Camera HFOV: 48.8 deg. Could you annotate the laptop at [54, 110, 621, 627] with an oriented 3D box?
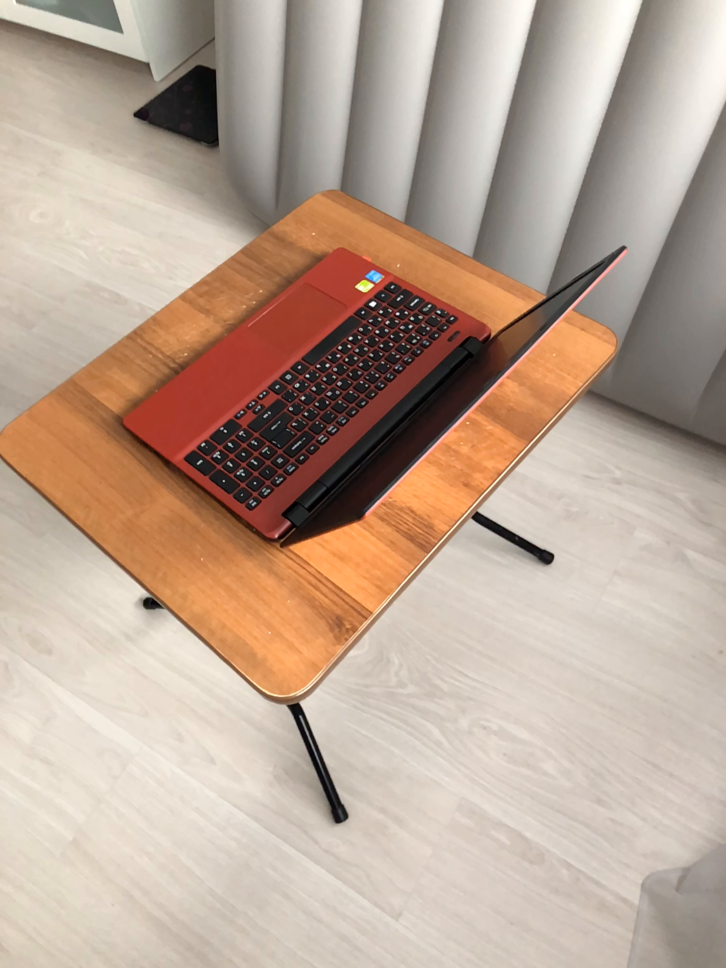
[{"bbox_3d":[-0.020,-0.142,0.820,0.382,0.191,0.372,36,65,25],"label":"laptop"}]
